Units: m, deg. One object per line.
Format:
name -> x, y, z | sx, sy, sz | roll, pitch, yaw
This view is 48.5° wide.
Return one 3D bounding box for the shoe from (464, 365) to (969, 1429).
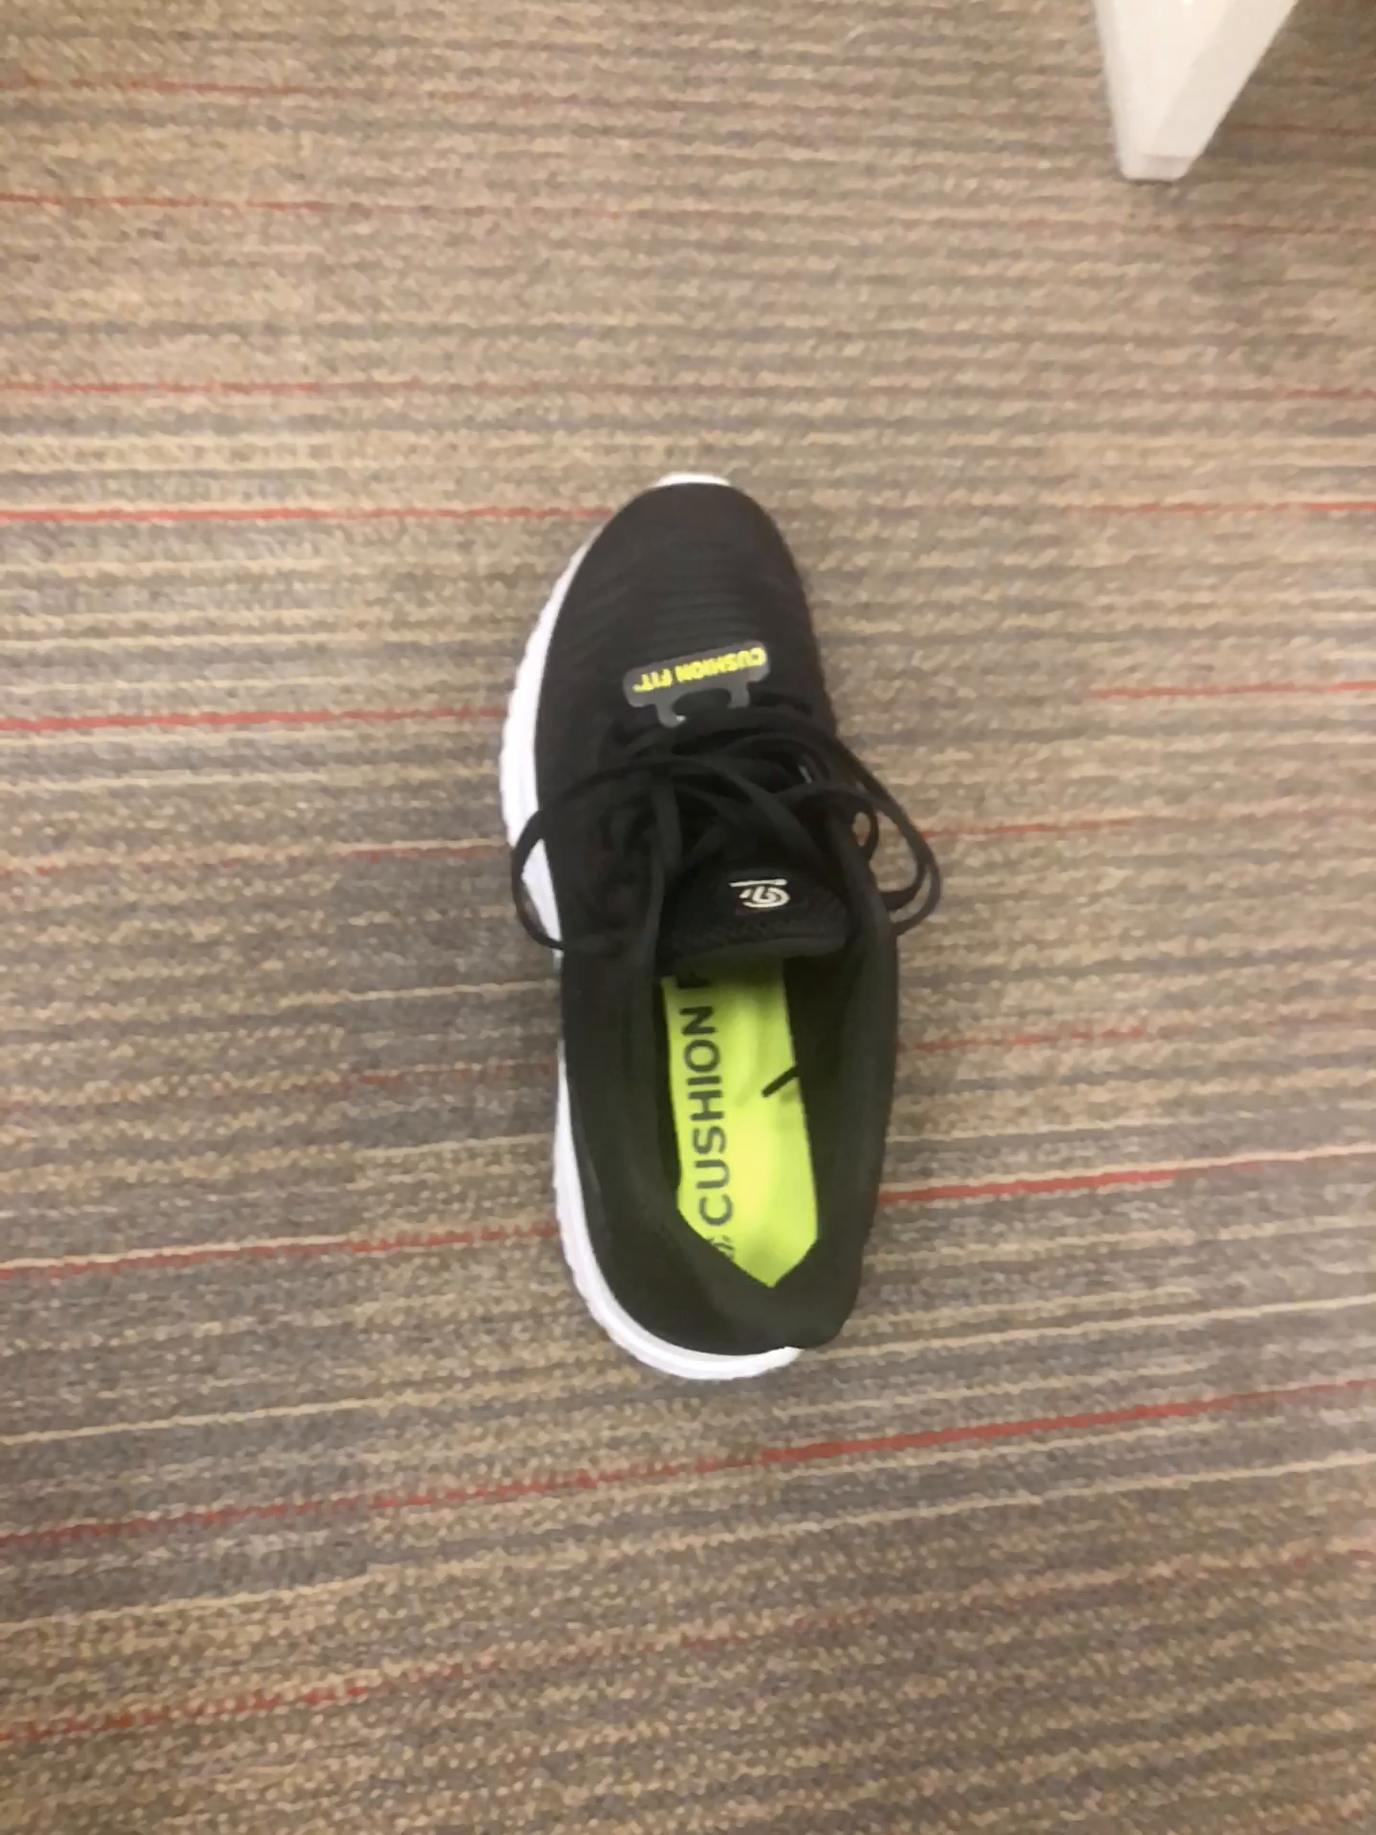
shoe -> -0.004, -0.006, 0.459 | 0.120, 0.100, 0.290 | -1, 76, -9
